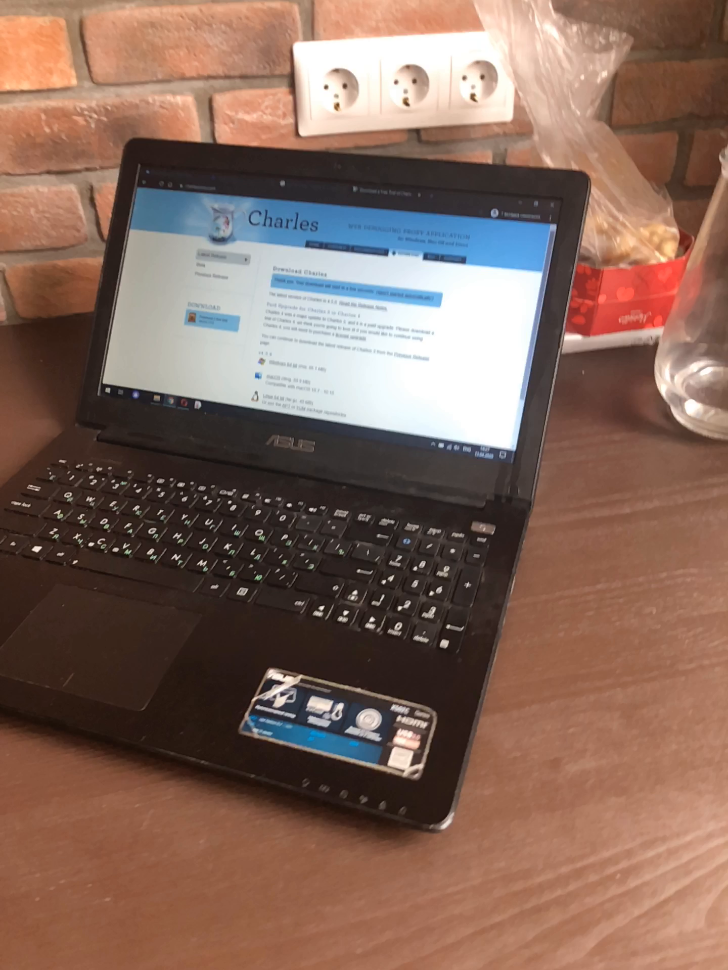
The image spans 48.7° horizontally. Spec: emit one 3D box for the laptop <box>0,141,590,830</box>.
[{"bbox_3d":[-0.081,-0.063,0.515,0.373,0.186,0.401,10,38,16],"label":"laptop"}]
